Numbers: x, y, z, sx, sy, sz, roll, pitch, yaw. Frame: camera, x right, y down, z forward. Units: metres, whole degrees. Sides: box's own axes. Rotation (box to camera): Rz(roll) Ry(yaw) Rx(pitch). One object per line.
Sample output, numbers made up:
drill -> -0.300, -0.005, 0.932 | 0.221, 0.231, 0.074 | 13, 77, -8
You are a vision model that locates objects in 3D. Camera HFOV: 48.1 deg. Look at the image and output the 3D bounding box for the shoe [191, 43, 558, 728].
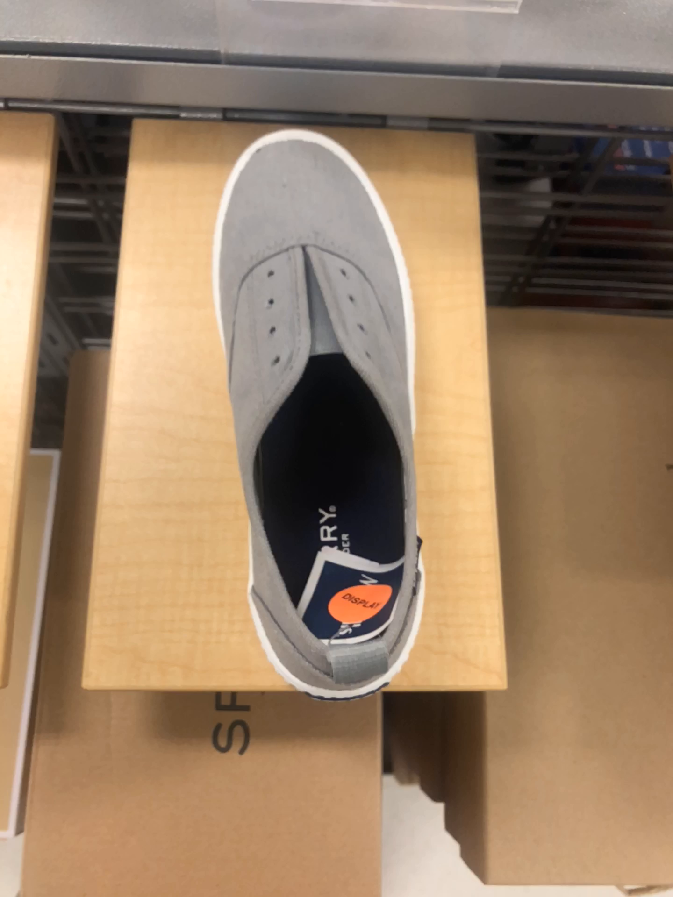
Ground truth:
shoe -> 0.003, -0.029, 0.305 | 0.097, 0.081, 0.251 | -5, 74, -8
